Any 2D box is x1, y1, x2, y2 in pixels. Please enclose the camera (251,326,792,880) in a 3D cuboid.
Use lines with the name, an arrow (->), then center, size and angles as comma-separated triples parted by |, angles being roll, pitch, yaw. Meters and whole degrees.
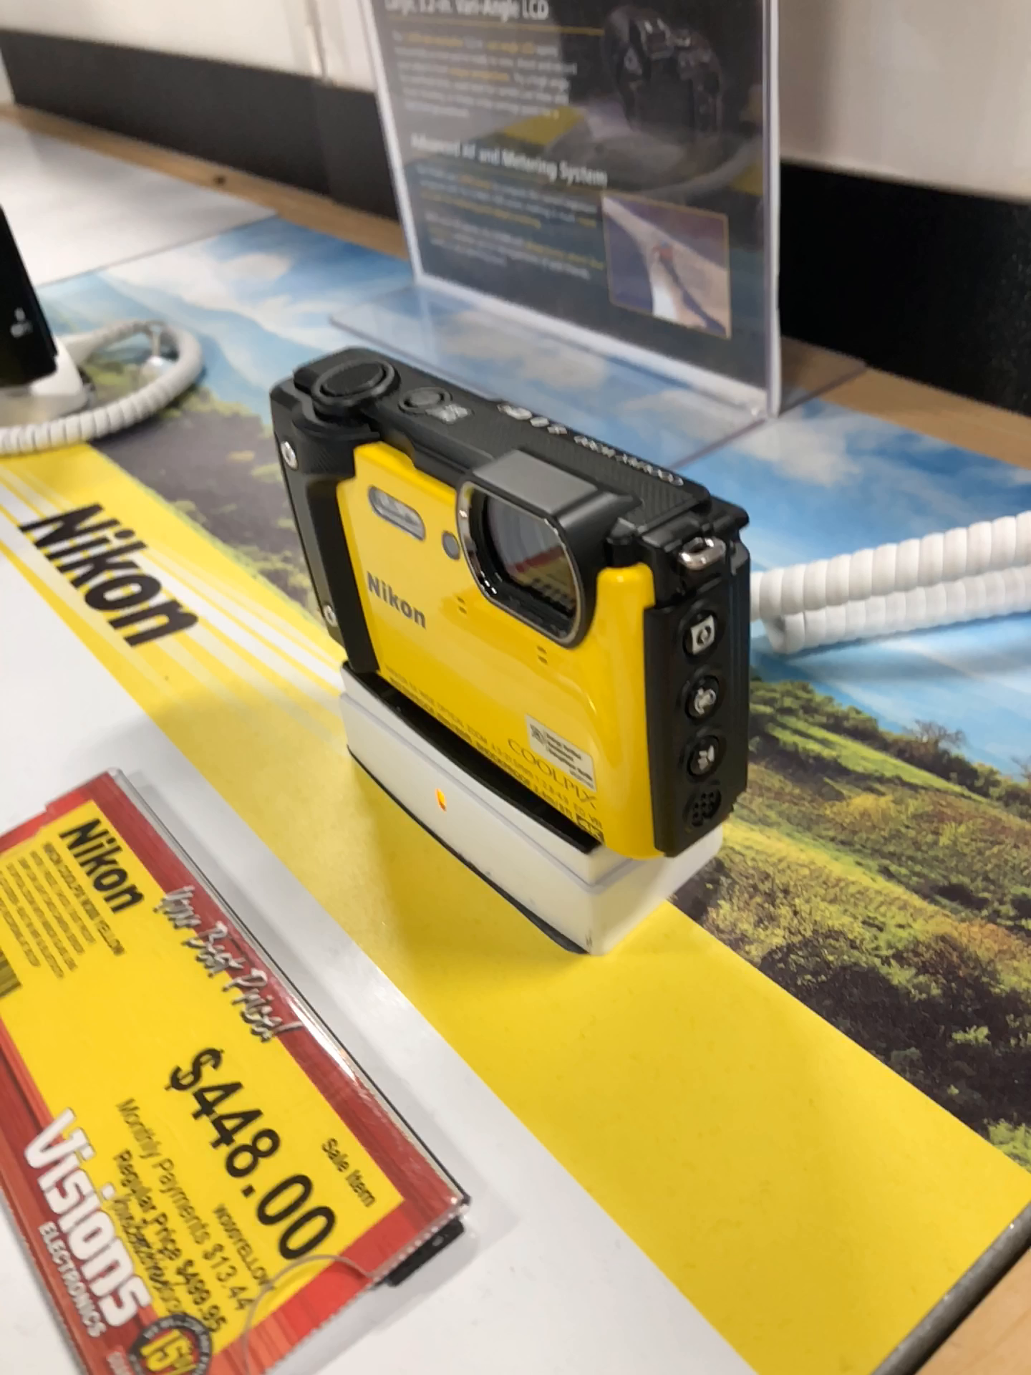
camera -> -0.003, -0.022, 0.213 | 0.030, 0.060, 0.111 | -30, 42, -27
